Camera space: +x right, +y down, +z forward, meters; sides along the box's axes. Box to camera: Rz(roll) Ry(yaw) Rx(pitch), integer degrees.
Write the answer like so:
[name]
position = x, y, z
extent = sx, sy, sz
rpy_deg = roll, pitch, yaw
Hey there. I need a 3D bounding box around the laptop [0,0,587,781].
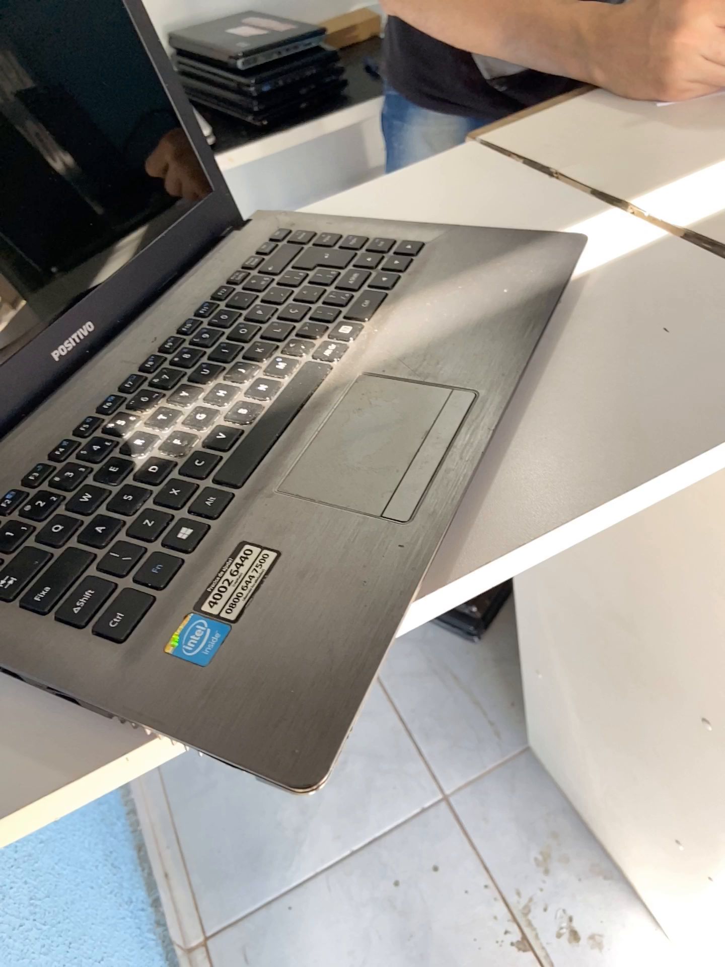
[laptop]
position = -0.094, -0.130, 0.307
extent = 0.283, 0.211, 0.336
rpy_deg = 12, 49, 25
